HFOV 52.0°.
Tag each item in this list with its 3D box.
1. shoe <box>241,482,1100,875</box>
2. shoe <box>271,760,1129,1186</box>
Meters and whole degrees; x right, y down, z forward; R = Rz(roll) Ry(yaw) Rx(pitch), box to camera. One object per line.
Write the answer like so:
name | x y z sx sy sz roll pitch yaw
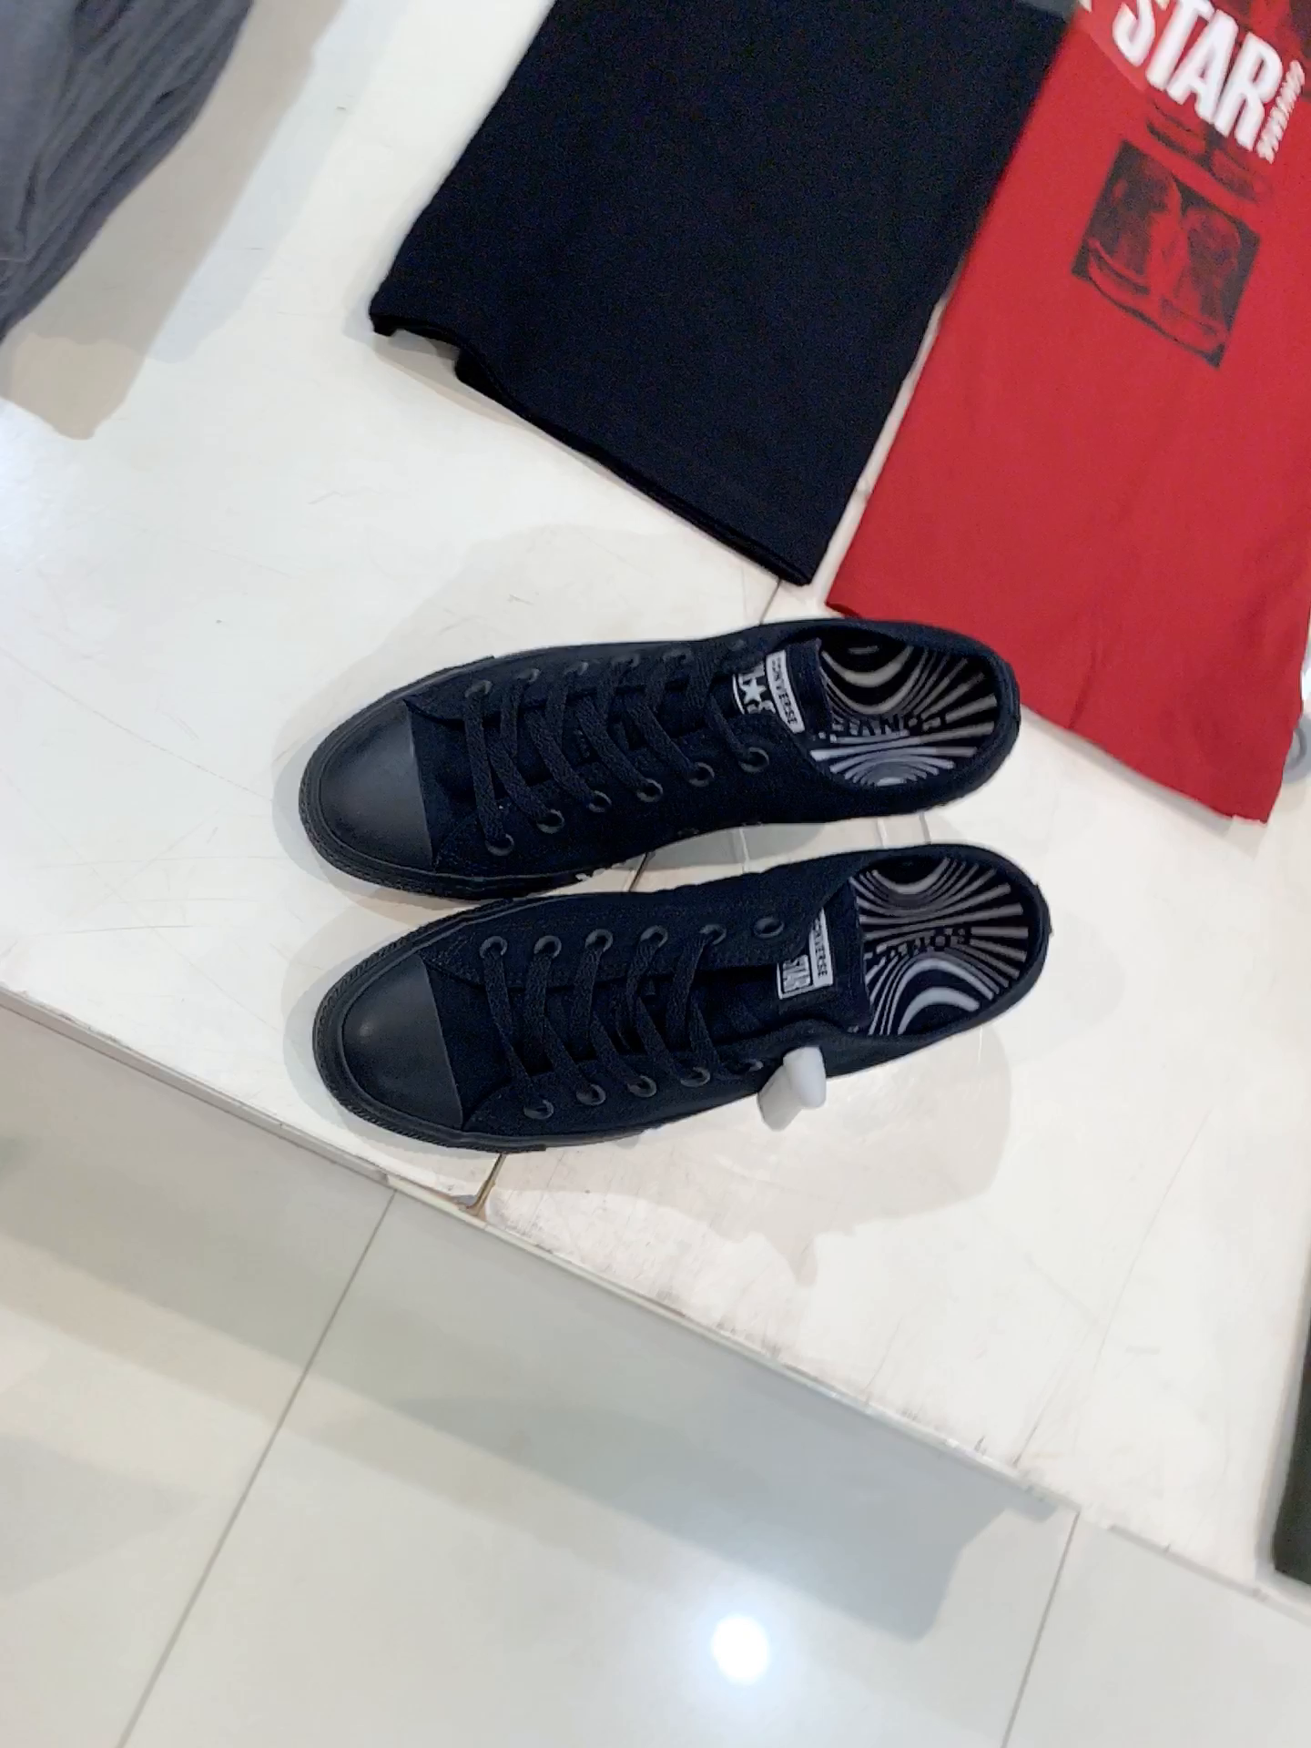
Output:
shoe | 0.006 -0.067 0.519 0.290 0.100 0.090 -9 89 4
shoe | 0.015 0.037 0.491 0.270 0.100 0.100 -9 85 5
